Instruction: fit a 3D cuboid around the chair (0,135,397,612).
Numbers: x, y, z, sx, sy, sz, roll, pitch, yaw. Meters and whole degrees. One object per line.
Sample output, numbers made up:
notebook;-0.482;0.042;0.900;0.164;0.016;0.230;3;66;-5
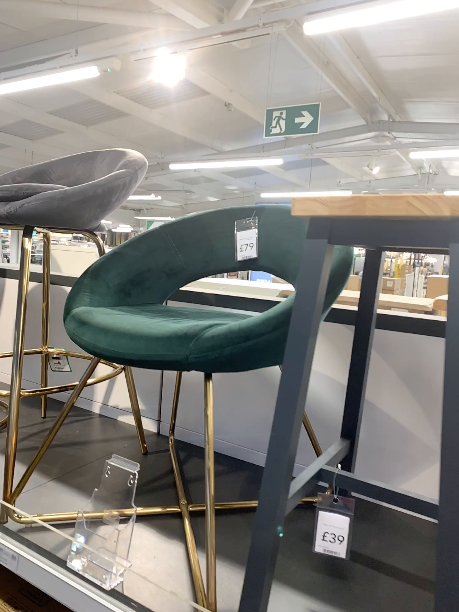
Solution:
chair;-0.064;0.083;1.057;0.635;0.699;0.669;7;6;32
